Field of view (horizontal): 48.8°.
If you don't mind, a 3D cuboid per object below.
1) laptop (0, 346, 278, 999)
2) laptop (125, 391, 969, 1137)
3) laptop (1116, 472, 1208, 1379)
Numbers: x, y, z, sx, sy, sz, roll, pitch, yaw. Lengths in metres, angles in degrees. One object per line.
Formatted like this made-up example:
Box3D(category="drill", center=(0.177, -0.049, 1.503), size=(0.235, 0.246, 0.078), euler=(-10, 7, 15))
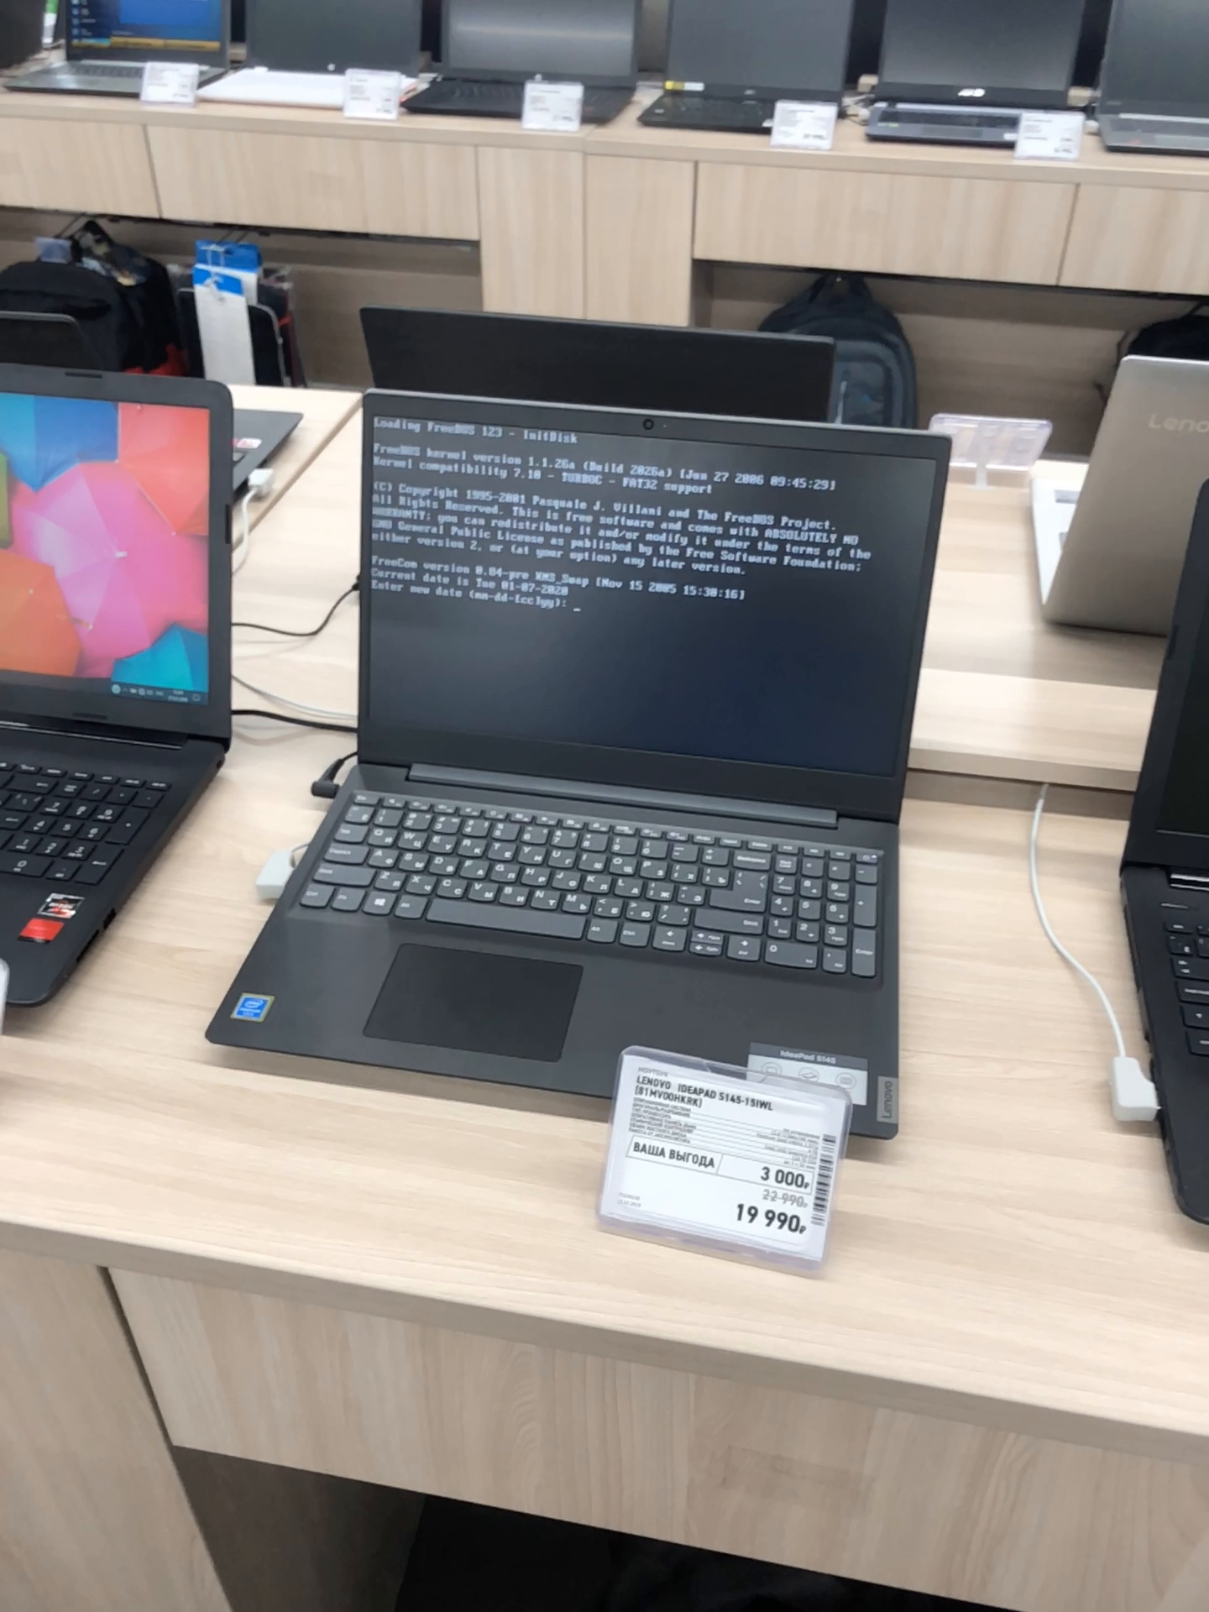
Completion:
Box3D(category="laptop", center=(-0.435, -0.099, 0.773), size=(0.351, 0.202, 0.322), euler=(7, 38, 9))
Box3D(category="laptop", center=(-0.002, -0.047, 0.709), size=(0.340, 0.210, 0.323), euler=(6, 39, 9))
Box3D(category="laptop", center=(0.456, 0.027, 0.605), size=(0.337, 0.208, 0.298), euler=(7, 39, 8))
